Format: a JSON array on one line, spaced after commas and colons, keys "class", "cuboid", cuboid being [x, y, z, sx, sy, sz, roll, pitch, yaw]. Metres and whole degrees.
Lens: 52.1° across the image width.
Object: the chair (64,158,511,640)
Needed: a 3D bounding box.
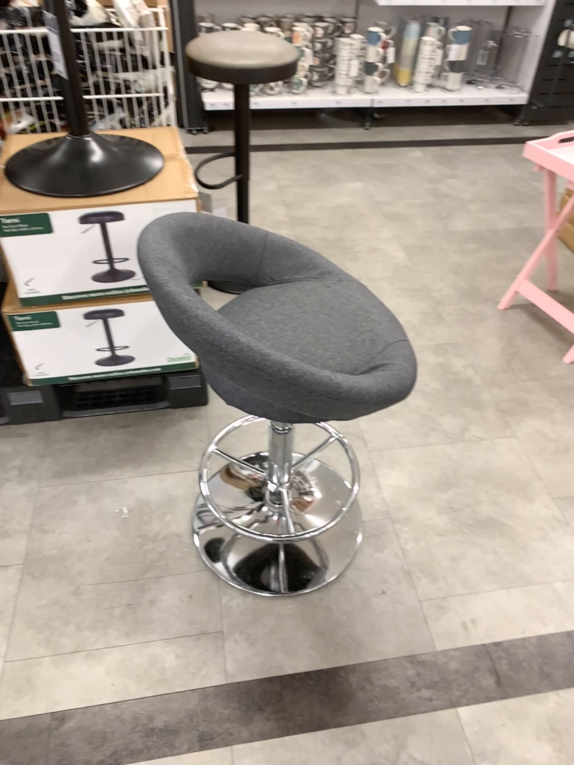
[{"class": "chair", "cuboid": [-0.058, 0.010, 1.193, 0.593, 0.664, 0.577, -11, 43, -14]}]
